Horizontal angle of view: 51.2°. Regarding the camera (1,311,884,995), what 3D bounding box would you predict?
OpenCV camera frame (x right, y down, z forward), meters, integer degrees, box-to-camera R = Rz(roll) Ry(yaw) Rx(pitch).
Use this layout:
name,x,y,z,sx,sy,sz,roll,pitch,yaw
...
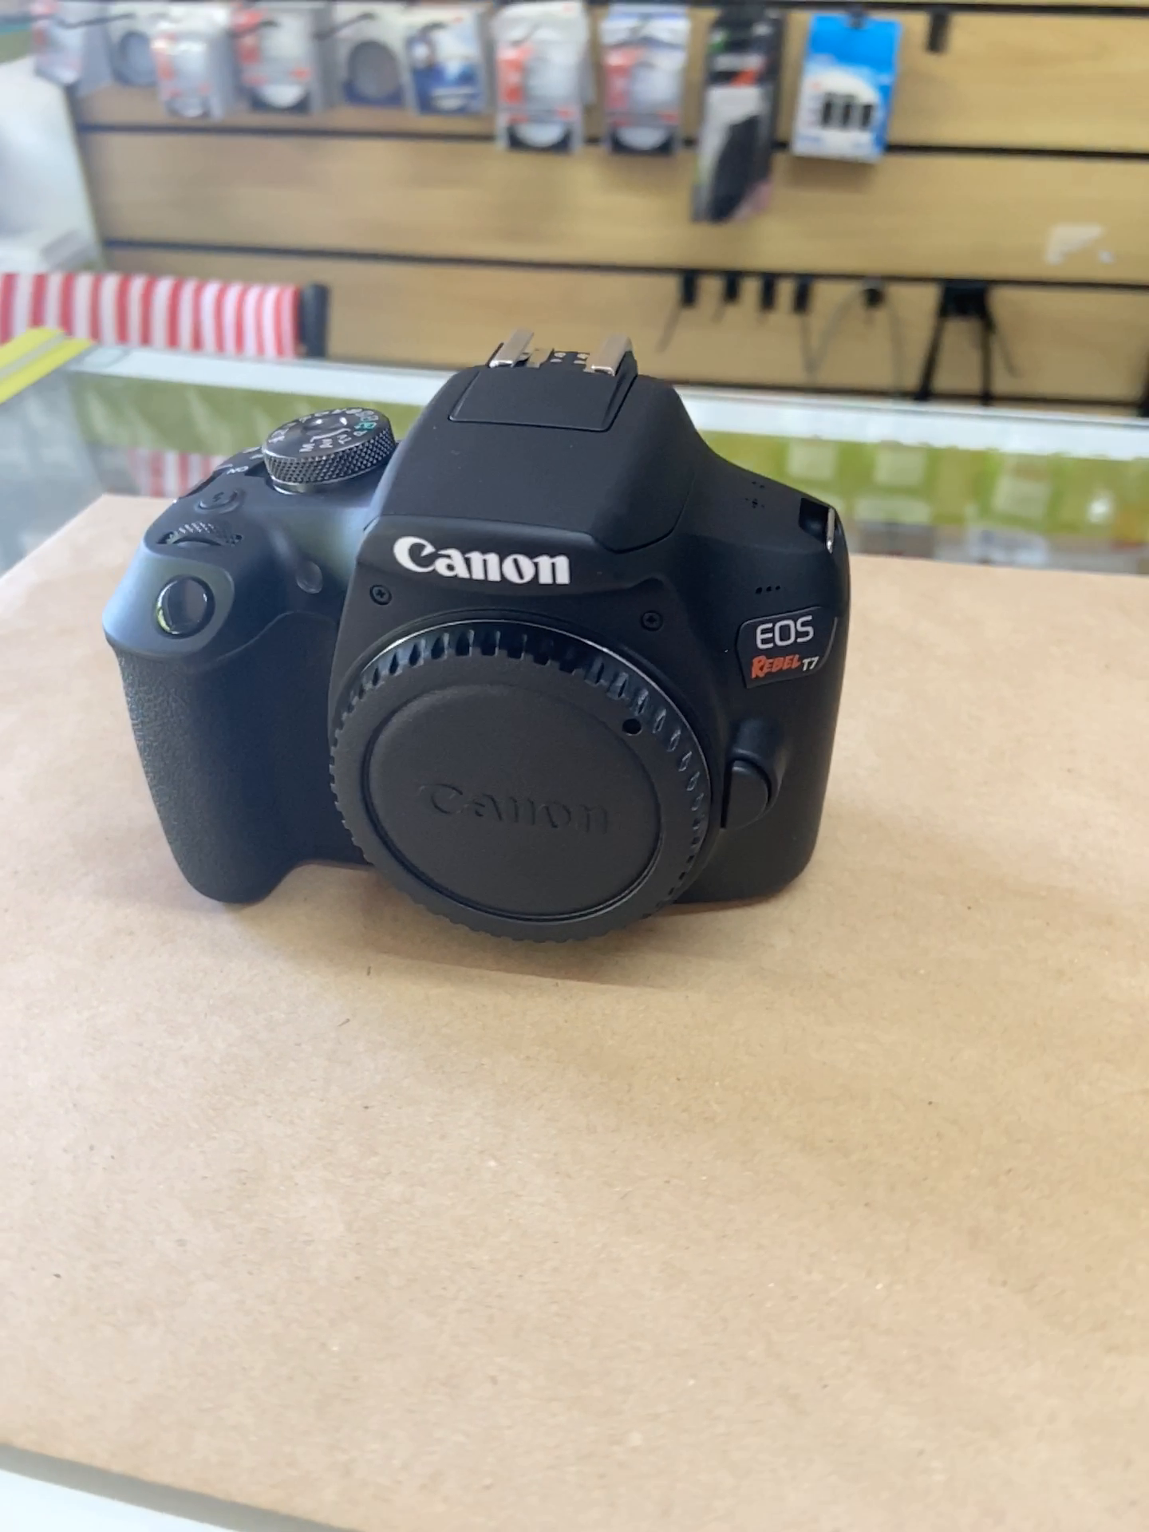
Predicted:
name,x,y,z,sx,sy,sz,roll,pitch,yaw
camera,-0.015,-0.025,0.226,0.130,0.092,0.072,6,38,11
